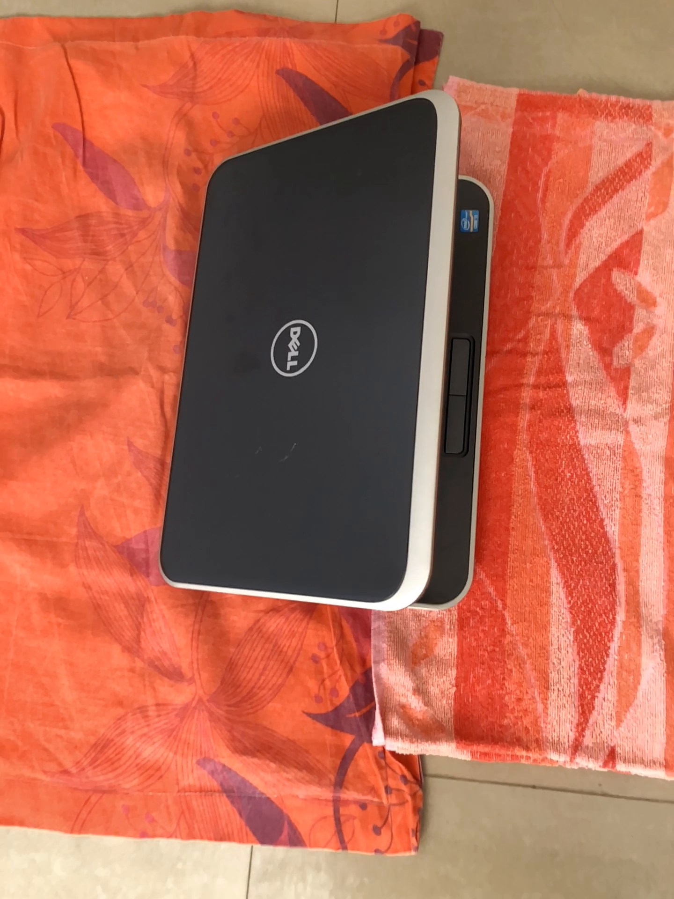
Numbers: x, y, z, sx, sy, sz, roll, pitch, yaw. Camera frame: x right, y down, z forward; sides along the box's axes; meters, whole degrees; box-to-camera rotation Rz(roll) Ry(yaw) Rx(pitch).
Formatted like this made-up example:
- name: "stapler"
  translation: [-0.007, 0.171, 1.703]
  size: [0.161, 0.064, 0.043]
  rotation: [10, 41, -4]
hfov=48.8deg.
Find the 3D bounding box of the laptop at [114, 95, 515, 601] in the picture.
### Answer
- name: "laptop"
  translation: [-0.007, -0.074, 0.563]
  size: [0.241, 0.129, 0.346]
  rotation: [4, 79, 7]
